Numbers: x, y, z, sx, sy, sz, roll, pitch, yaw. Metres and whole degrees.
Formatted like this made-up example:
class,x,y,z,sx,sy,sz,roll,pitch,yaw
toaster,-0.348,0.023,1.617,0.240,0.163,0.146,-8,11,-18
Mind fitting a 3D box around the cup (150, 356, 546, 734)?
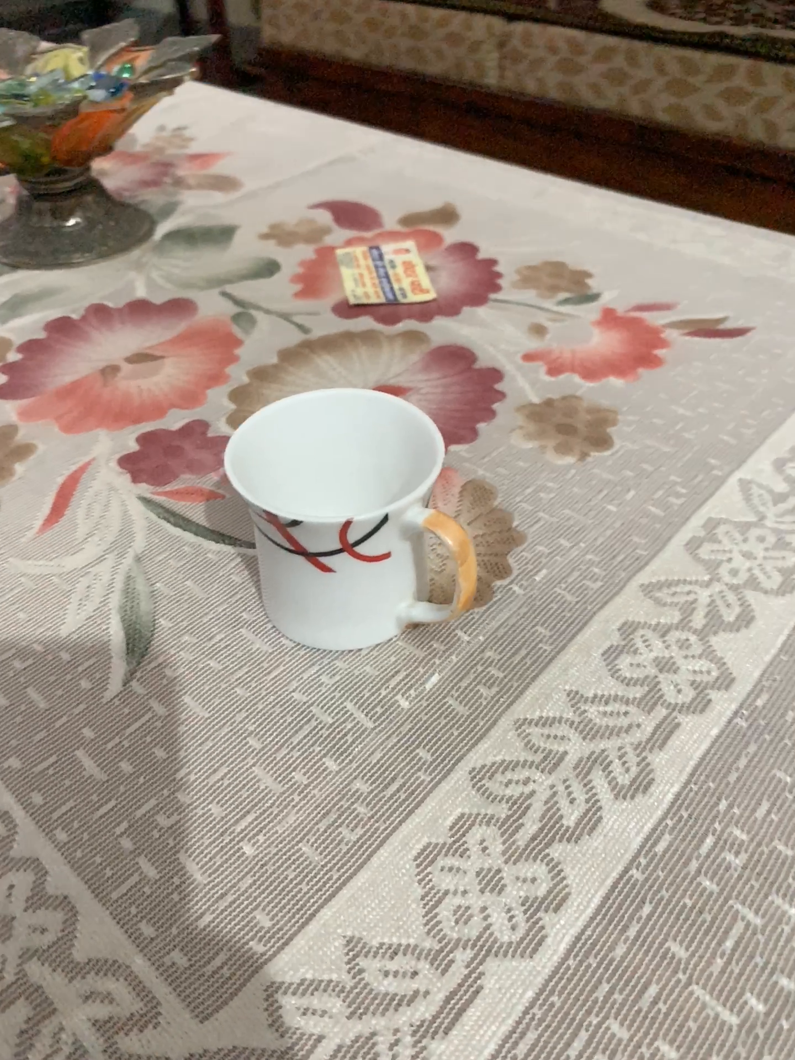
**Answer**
class,x,y,z,sx,sy,sz,roll,pitch,yaw
cup,-0.014,0.000,0.257,0.090,0.060,0.070,25,48,28
